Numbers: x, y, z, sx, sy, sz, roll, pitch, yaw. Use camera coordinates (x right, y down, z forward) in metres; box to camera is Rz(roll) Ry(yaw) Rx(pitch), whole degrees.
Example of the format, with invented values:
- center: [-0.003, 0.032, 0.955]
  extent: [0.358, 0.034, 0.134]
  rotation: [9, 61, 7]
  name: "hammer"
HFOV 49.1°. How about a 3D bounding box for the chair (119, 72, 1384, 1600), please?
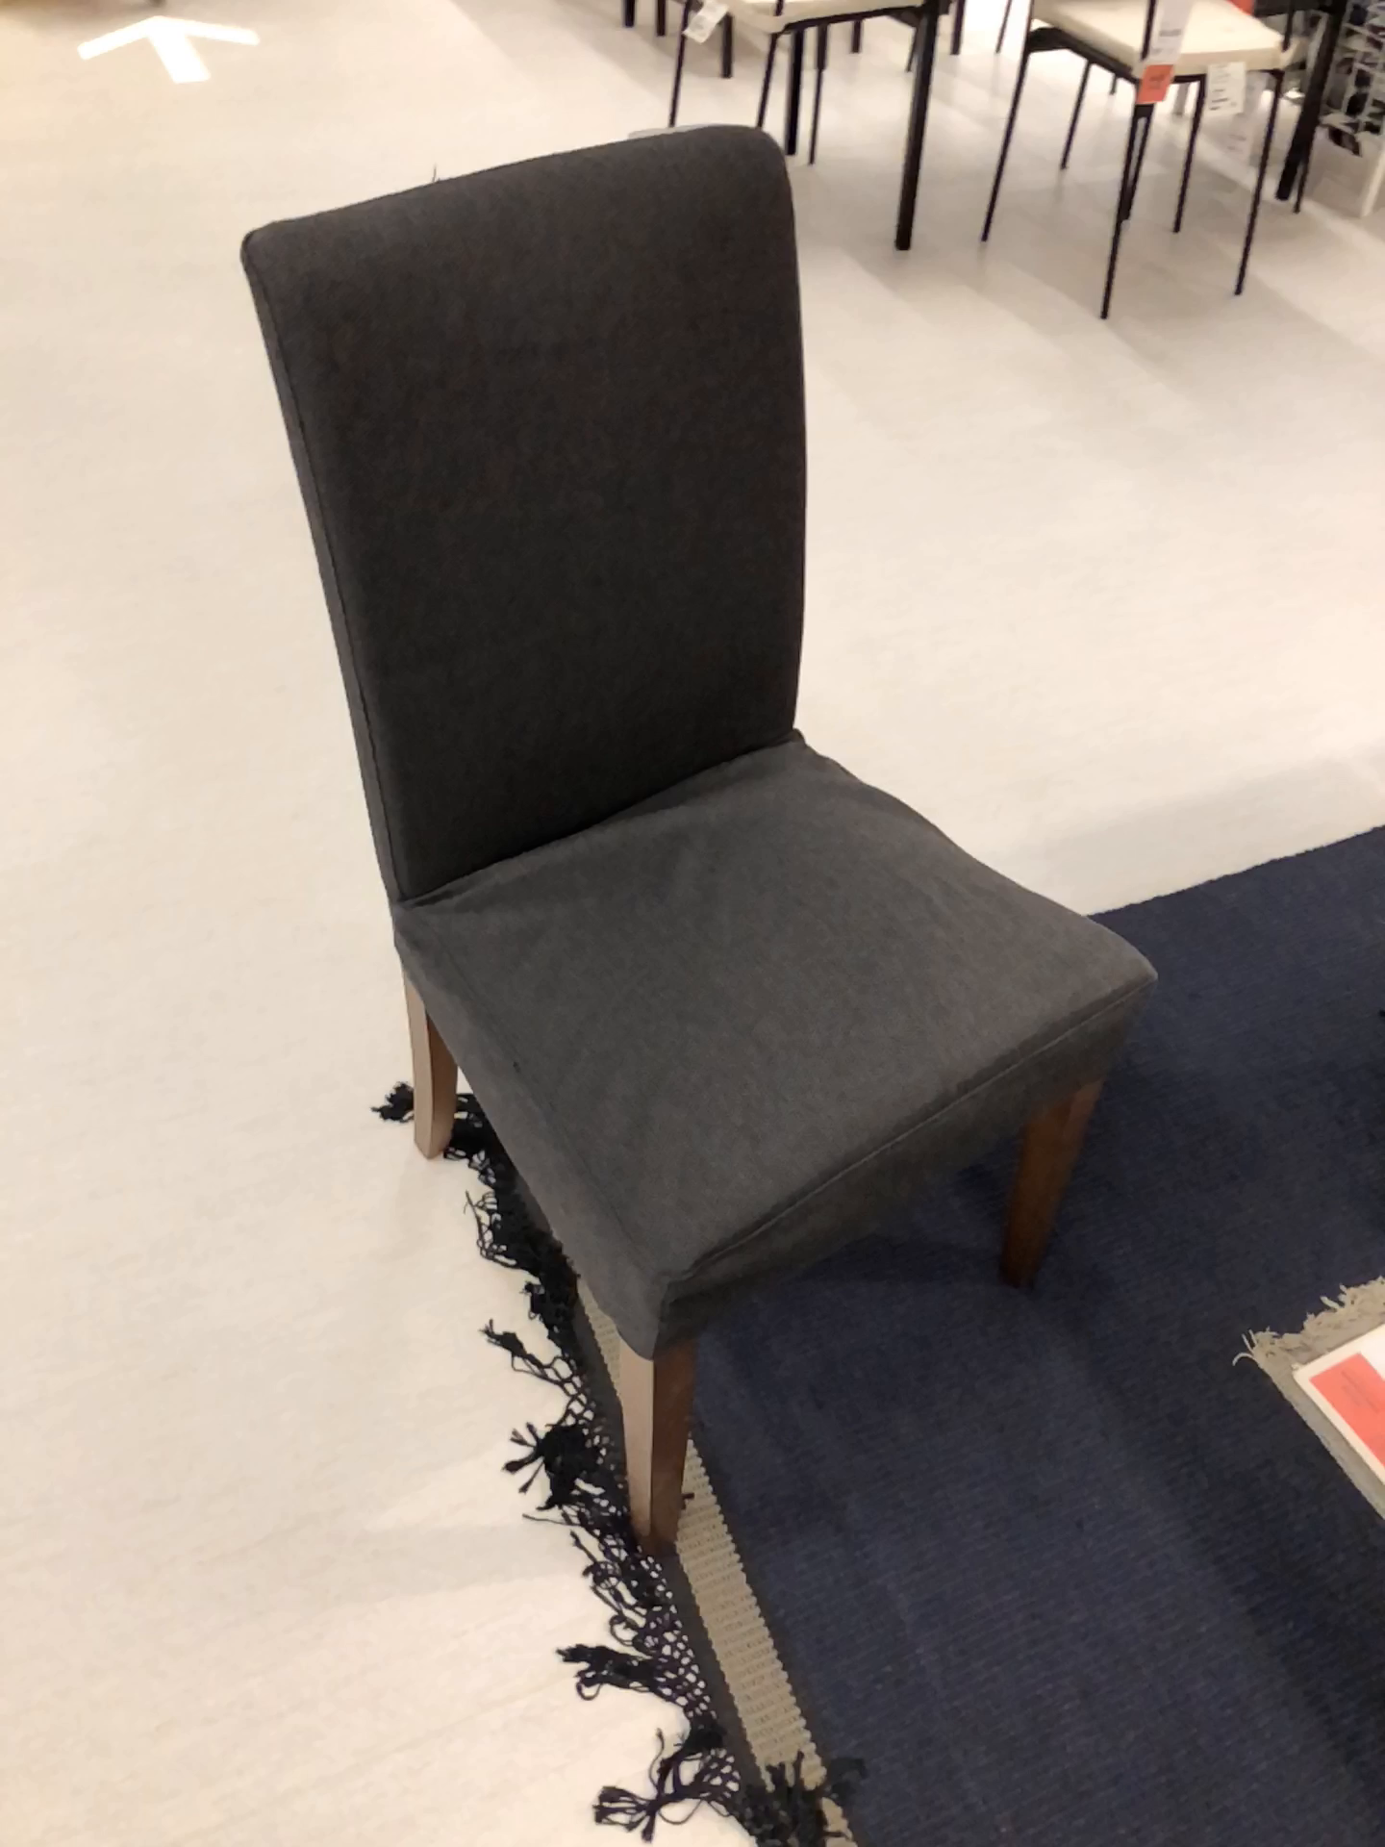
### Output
- center: [0.017, -0.036, 1.220]
  extent: [0.541, 0.964, 0.552]
  rotation: [-26, 52, -26]
  name: "chair"
